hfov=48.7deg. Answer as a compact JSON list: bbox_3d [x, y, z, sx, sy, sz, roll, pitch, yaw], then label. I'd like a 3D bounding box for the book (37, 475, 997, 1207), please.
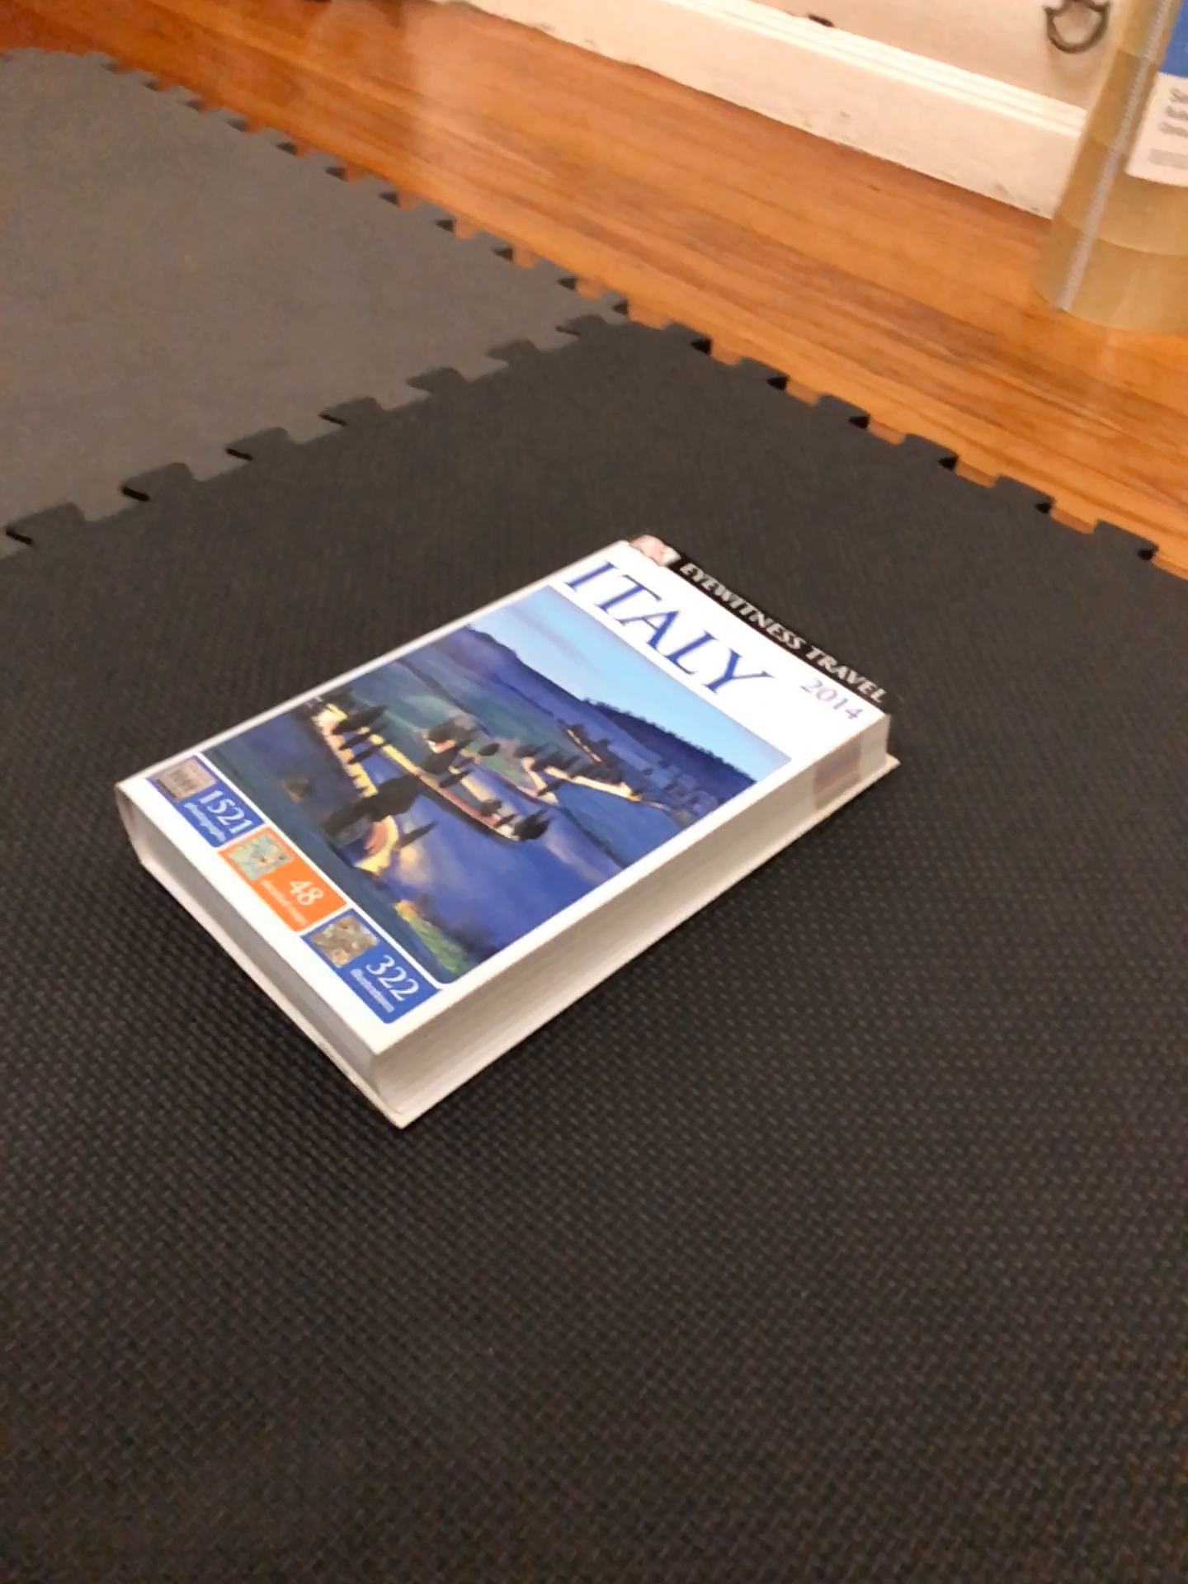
[{"bbox_3d":[-0.014,-0.011,0.414,0.251,0.040,0.160,-32,55,-33],"label":"book"}]
